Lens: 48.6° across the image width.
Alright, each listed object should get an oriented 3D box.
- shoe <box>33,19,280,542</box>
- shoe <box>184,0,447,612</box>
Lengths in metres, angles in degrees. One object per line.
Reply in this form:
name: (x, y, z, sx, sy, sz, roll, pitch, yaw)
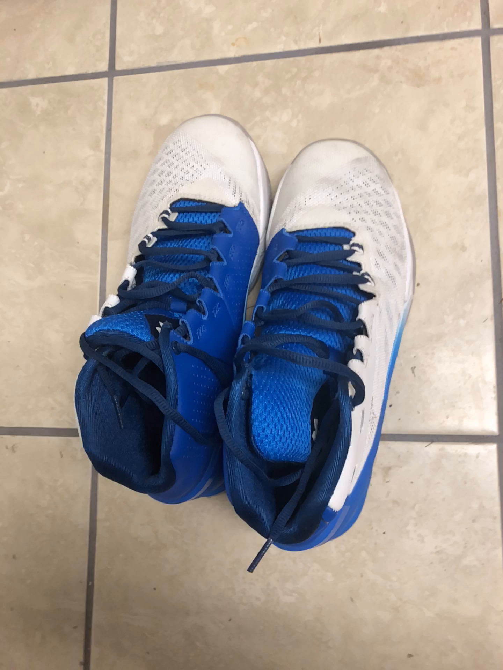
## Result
shoe: (-0.054, -0.036, 0.384, 0.120, 0.100, 0.310, 2, 84, 12)
shoe: (0.049, -0.022, 0.359, 0.120, 0.130, 0.322, 3, 81, 12)
